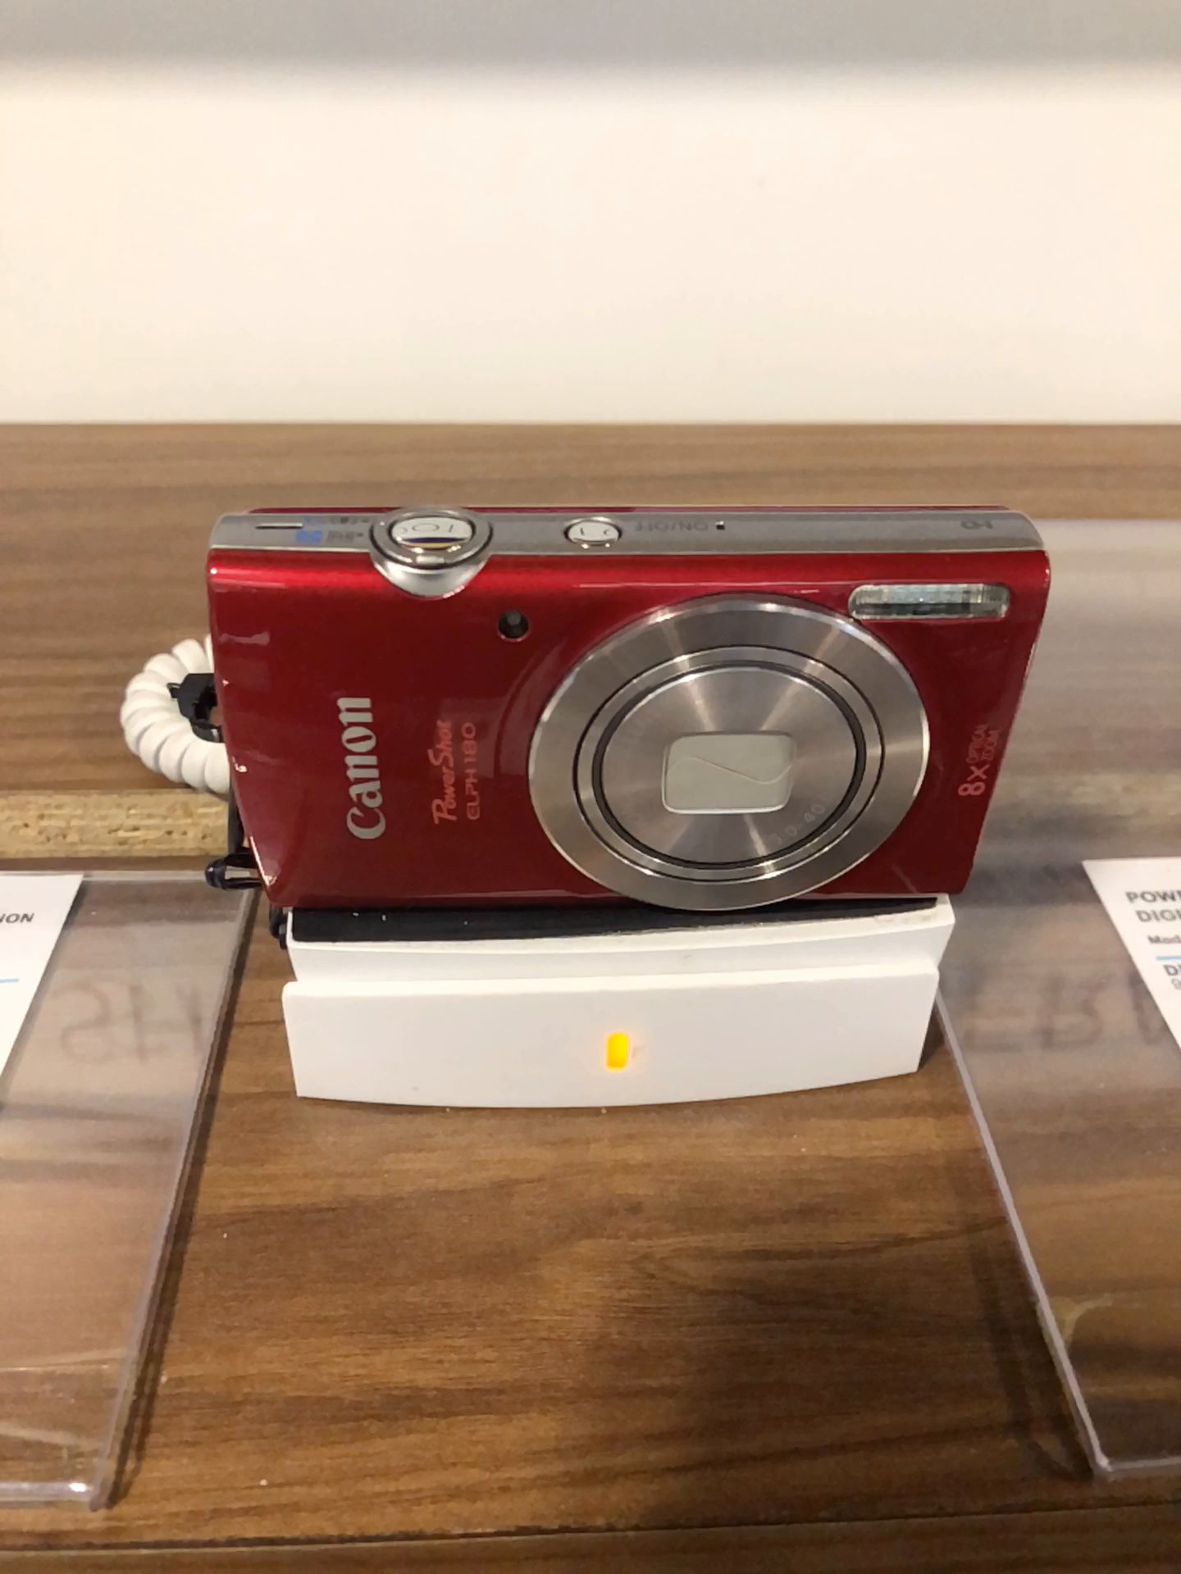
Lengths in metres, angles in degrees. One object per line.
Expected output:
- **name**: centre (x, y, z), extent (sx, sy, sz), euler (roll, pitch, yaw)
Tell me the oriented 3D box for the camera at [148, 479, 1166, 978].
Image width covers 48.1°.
- **camera**: centre (0.006, -0.007, 0.156), extent (0.100, 0.050, 0.030), euler (-1, 37, -2)
